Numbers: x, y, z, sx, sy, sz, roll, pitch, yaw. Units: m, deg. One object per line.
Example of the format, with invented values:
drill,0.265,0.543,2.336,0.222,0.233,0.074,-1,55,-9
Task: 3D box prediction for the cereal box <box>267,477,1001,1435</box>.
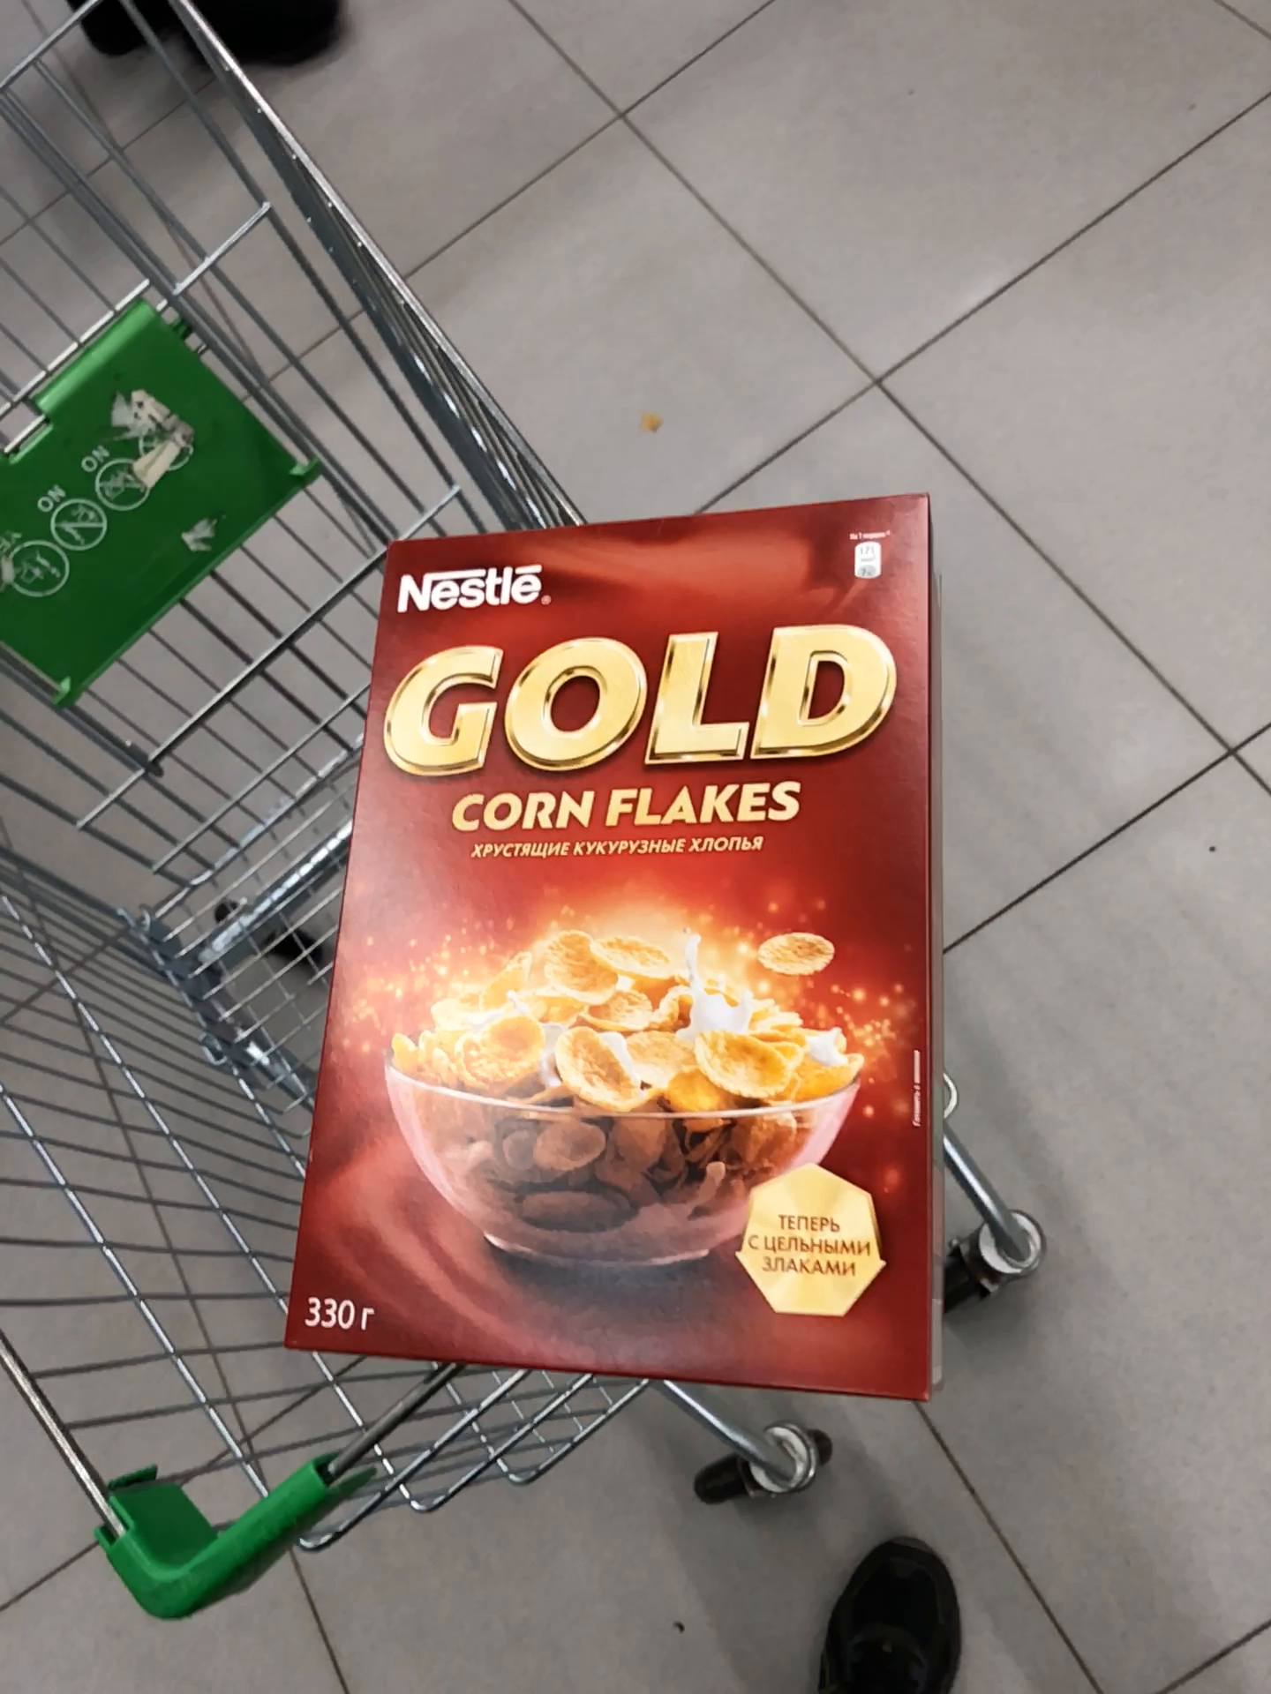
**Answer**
cereal box,0.008,0.028,0.458,0.210,0.060,0.280,-1,72,18
